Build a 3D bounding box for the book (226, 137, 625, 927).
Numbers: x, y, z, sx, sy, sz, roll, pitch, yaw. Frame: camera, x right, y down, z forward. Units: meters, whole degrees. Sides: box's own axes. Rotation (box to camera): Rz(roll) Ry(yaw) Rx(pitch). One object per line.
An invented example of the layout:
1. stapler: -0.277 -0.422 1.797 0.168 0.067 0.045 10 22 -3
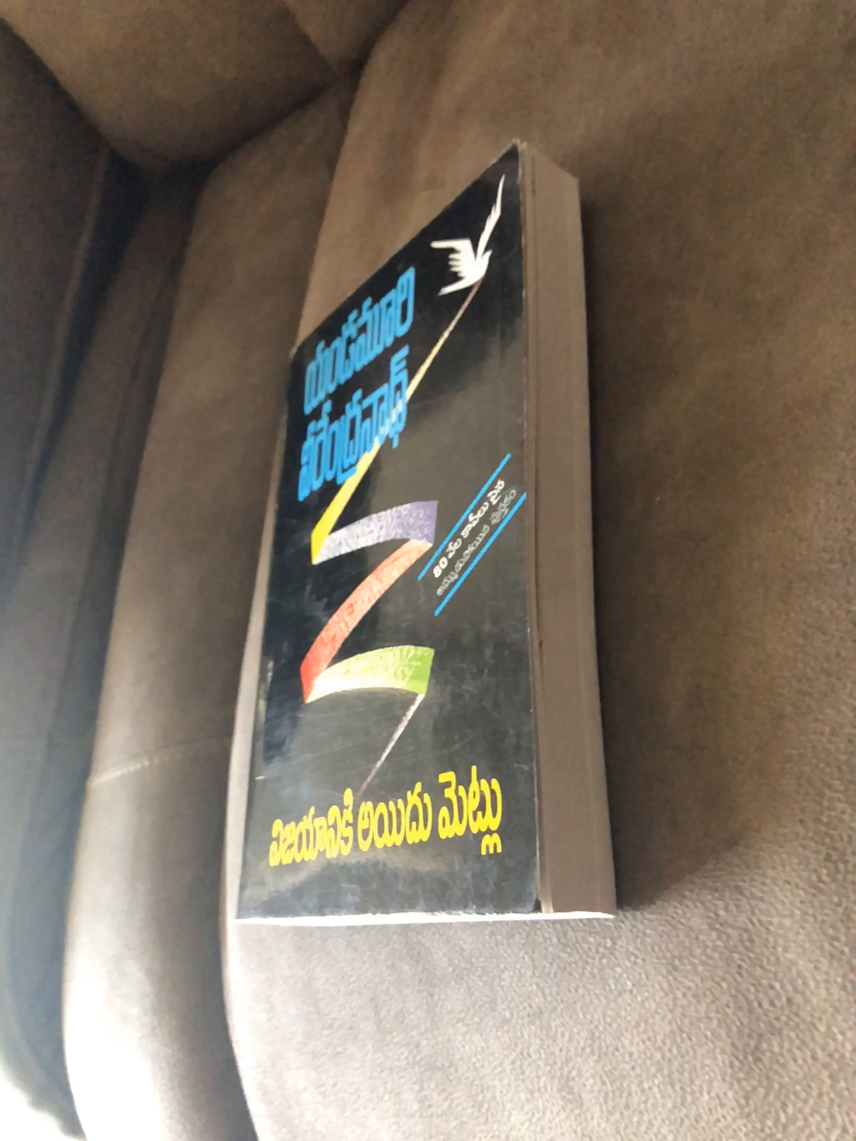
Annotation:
1. book: -0.009 -0.003 0.297 0.144 0.026 0.212 -25 56 48
